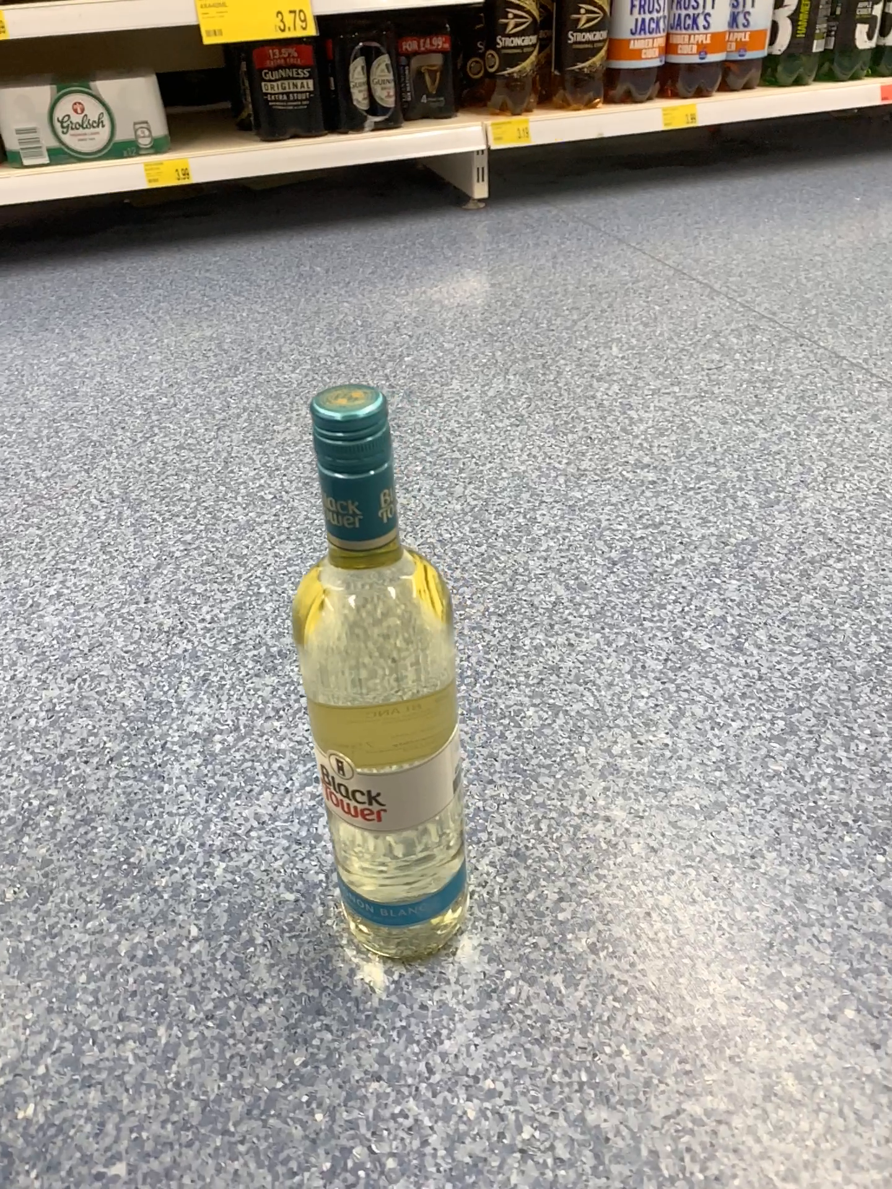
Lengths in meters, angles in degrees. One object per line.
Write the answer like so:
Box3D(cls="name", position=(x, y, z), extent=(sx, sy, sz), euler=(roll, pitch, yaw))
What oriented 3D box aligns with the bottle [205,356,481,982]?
Box3D(cls="bottle", position=(-0.034, 0.052, 0.429), extent=(0.071, 0.305, 0.065), euler=(-2, 35, 2))
